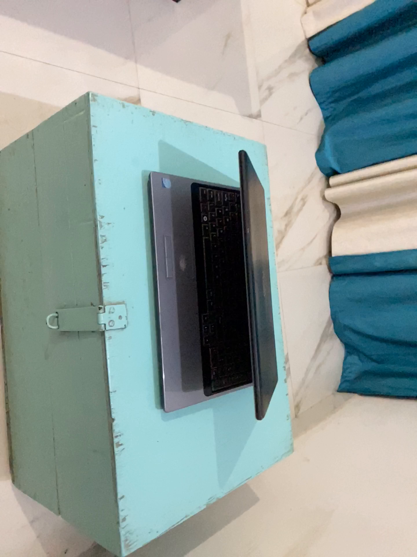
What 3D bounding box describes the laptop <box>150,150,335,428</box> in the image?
[{"bbox_3d":[0.066,0.014,0.734,0.262,0.152,0.387,-3,88,-45],"label":"laptop"}]
